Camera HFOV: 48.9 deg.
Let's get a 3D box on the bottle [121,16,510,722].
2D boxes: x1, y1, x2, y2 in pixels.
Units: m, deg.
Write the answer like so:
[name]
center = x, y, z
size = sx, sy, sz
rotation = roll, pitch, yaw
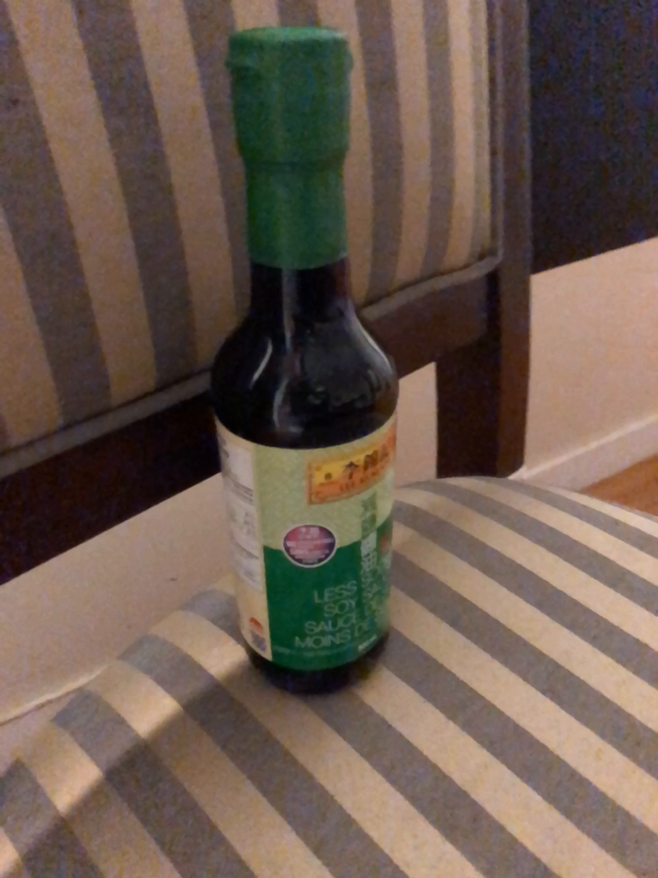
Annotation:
[bottle]
center = -0.002, -0.016, 0.260
size = 0.080, 0.228, 0.070
rotation = -26, 41, -34
